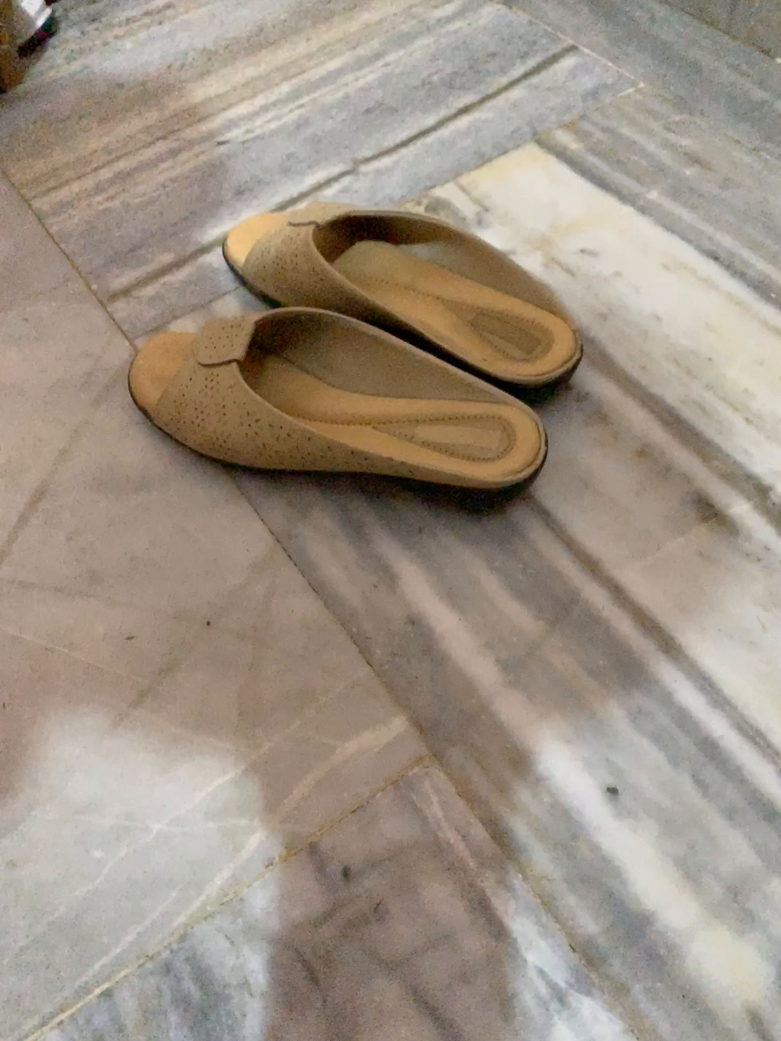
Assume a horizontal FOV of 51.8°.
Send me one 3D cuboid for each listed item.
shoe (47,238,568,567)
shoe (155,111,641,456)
[{"bbox_3d":[-0.045,-0.072,0.451,0.260,0.070,0.095,19,62,15],"label":"shoe"},{"bbox_3d":[-0.002,-0.153,0.490,0.274,0.070,0.095,30,65,21],"label":"shoe"}]
